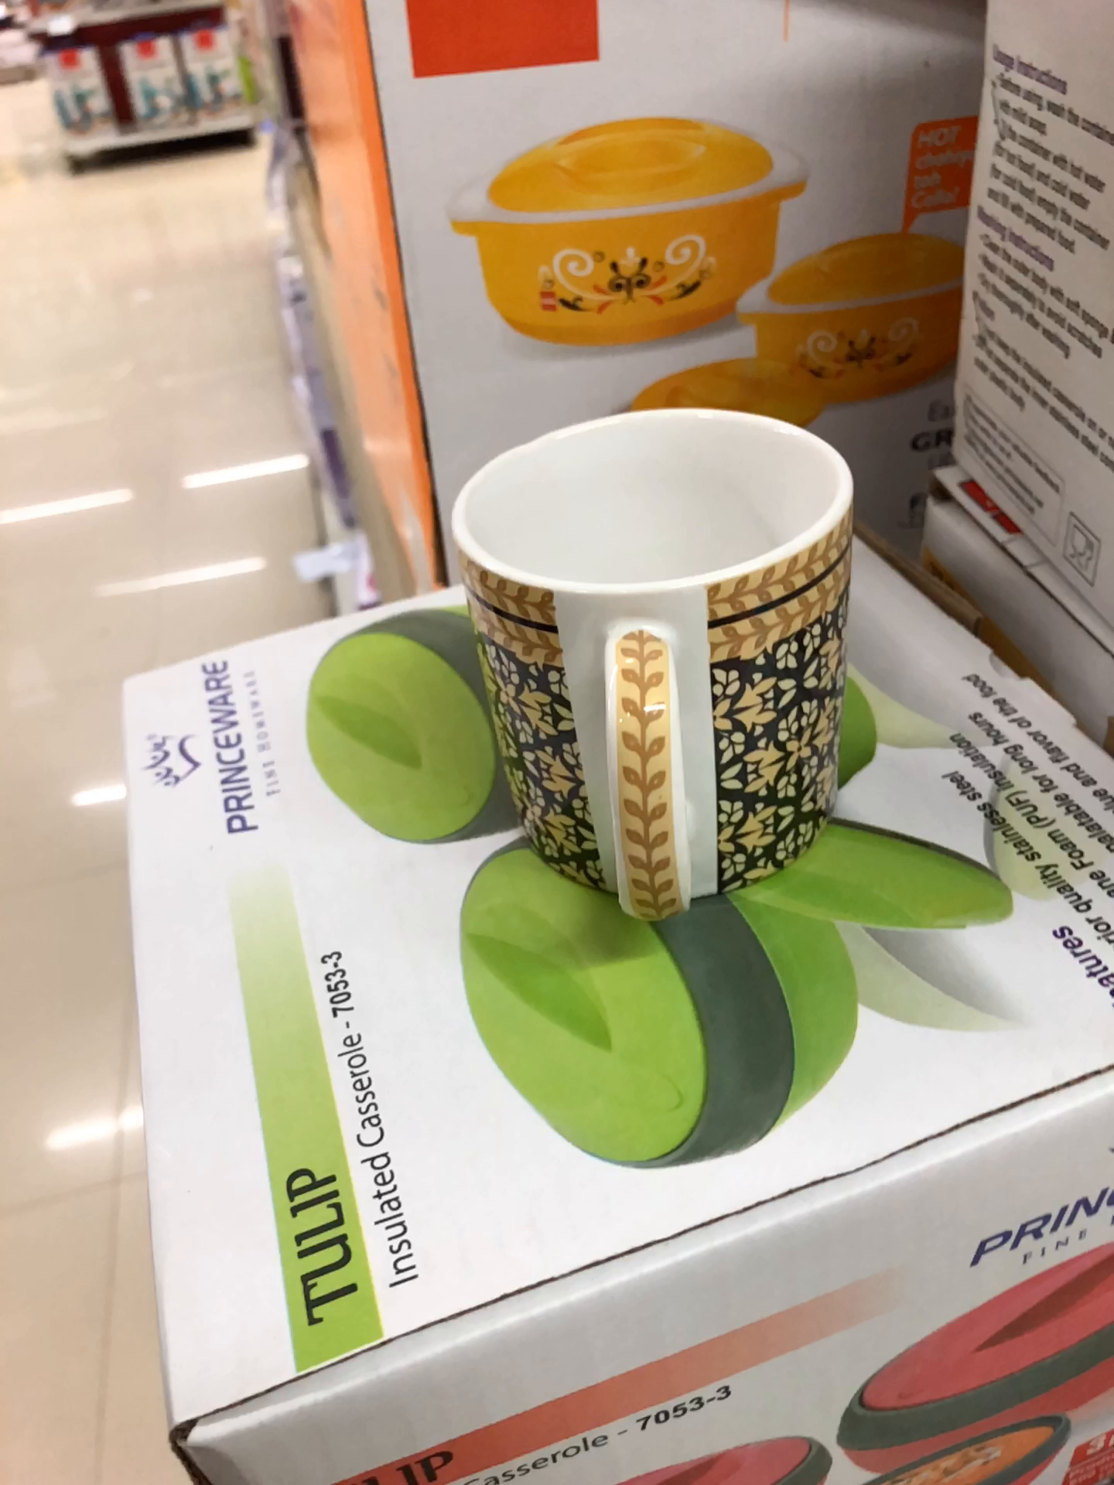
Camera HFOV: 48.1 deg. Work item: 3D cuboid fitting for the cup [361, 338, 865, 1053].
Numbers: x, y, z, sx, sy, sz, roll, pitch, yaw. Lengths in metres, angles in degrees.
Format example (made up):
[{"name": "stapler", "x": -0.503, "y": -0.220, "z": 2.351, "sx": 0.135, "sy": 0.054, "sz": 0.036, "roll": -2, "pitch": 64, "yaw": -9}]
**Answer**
[{"name": "cup", "x": 0.015, "y": -0.013, "z": 0.243, "sx": 0.070, "sy": 0.089, "sz": 0.111, "roll": -2, "pitch": 36, "yaw": 6}]
